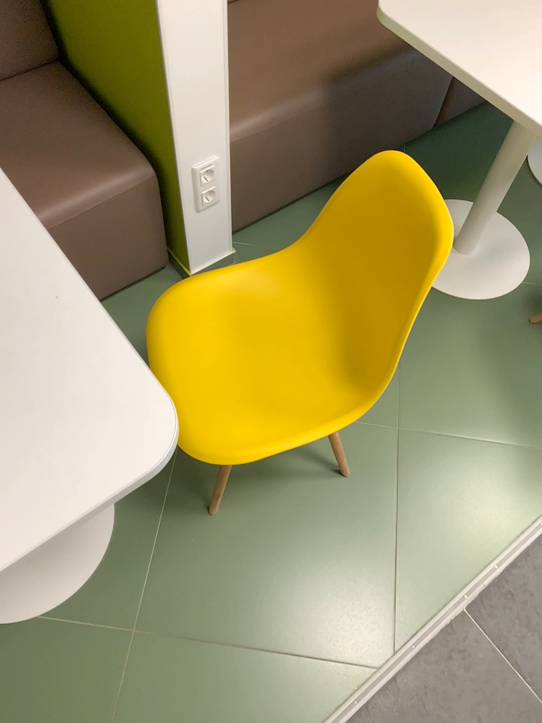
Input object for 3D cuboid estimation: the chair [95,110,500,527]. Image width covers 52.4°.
[{"bbox_3d":[0.001,-0.018,1.203,0.520,0.817,0.411,-15,62,-12],"label":"chair"}]
